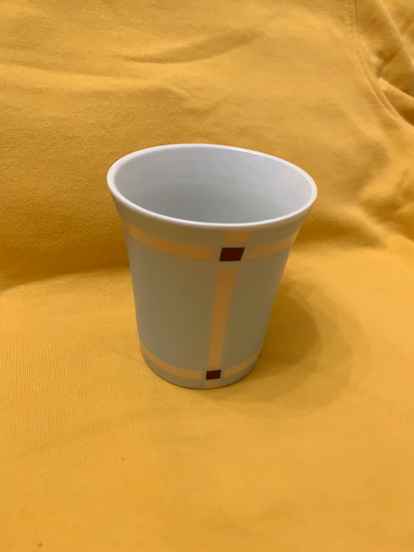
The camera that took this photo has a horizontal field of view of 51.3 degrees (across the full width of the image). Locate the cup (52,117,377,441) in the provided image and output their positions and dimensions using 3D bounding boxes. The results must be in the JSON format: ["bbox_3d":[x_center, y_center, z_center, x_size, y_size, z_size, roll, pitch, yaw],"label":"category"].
[{"bbox_3d":[0.003,-0.011,0.232,0.099,0.103,0.121,32,42,31],"label":"cup"}]
